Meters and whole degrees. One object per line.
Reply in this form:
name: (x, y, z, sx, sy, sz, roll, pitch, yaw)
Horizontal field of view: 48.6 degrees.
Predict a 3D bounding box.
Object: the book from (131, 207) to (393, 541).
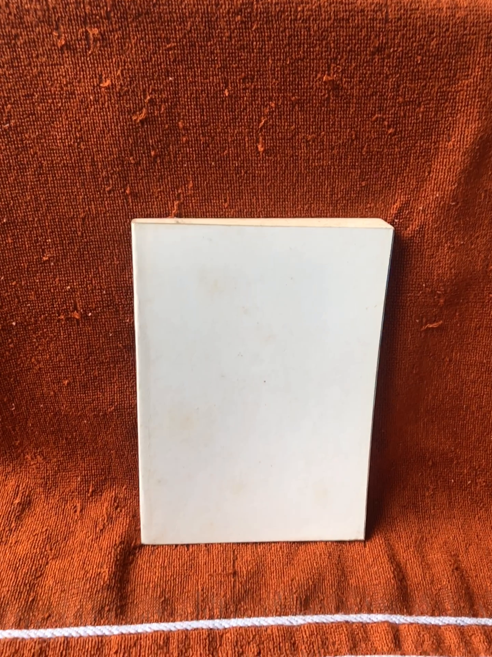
book: (0.007, 0.030, 0.341, 0.150, 0.200, 0.030, 1, 8, -5)
